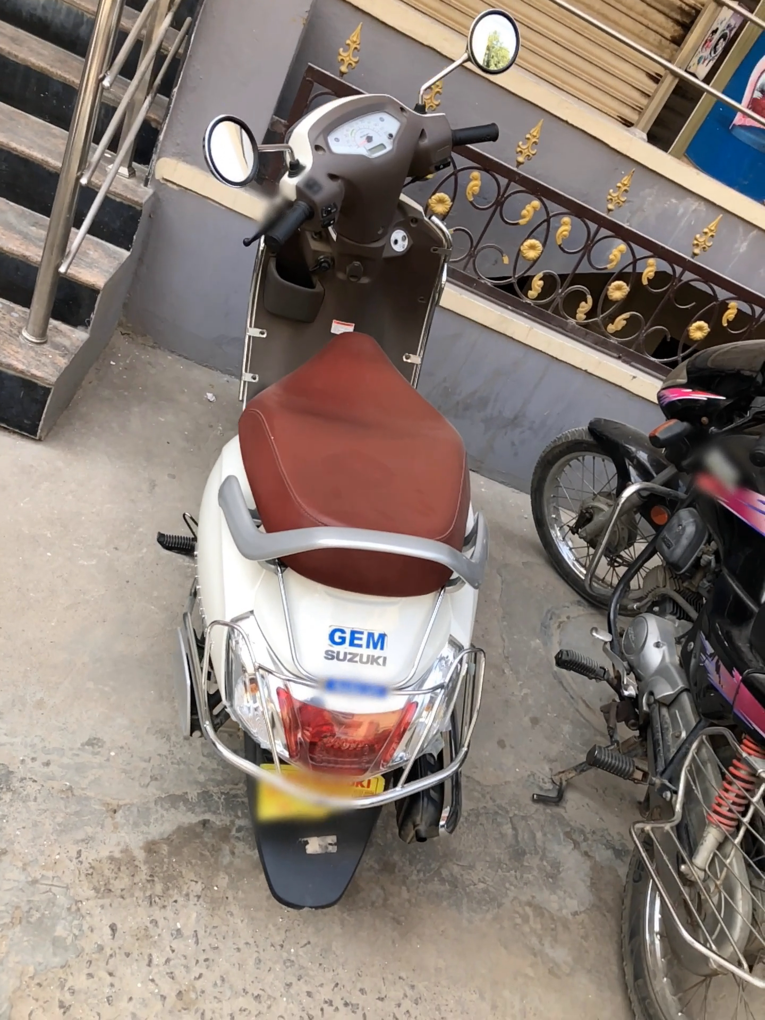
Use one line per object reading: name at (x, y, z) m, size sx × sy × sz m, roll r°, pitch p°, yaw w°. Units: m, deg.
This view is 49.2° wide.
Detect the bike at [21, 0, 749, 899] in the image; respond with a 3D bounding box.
bike at (-0.158, -0.288, 1.754) m, size 0.597 × 1.194 × 1.493 m, roll 16°, pitch 35°, yaw -21°
